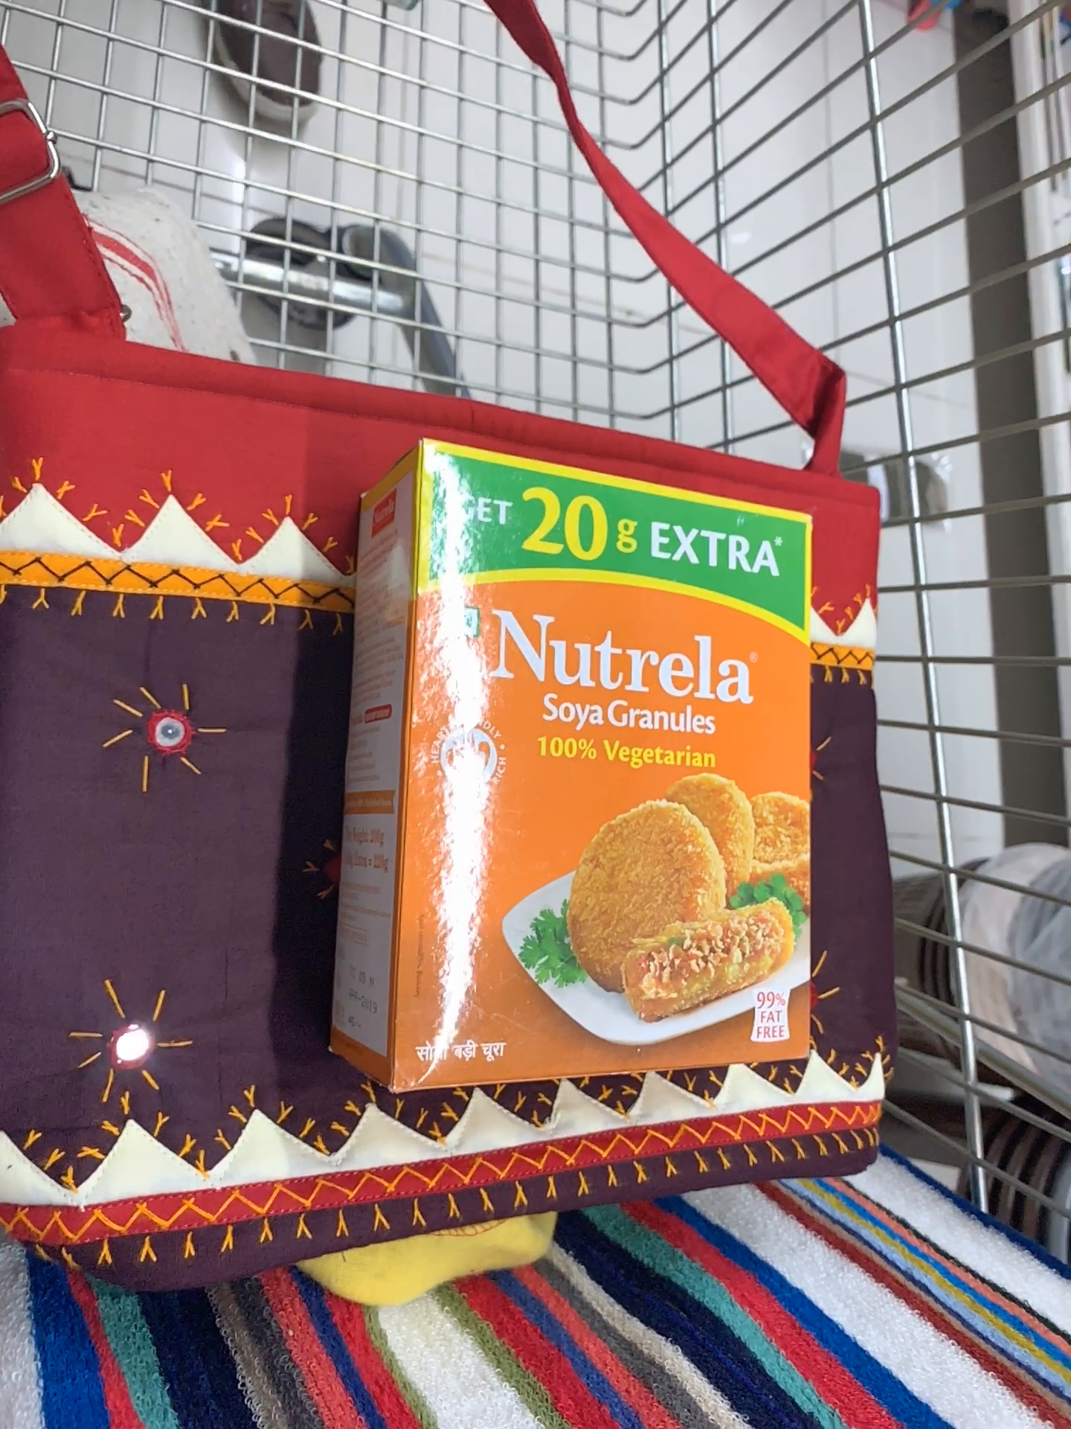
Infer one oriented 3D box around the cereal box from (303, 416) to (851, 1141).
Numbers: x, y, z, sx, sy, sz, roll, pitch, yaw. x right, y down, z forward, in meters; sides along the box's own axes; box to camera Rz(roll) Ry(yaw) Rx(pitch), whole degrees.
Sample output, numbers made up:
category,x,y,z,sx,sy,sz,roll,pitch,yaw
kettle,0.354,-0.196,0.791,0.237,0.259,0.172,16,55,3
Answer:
category,x,y,z,sx,sy,sz,roll,pitch,yaw
cereal box,0.011,0.018,0.281,0.120,0.060,0.150,5,81,-26
